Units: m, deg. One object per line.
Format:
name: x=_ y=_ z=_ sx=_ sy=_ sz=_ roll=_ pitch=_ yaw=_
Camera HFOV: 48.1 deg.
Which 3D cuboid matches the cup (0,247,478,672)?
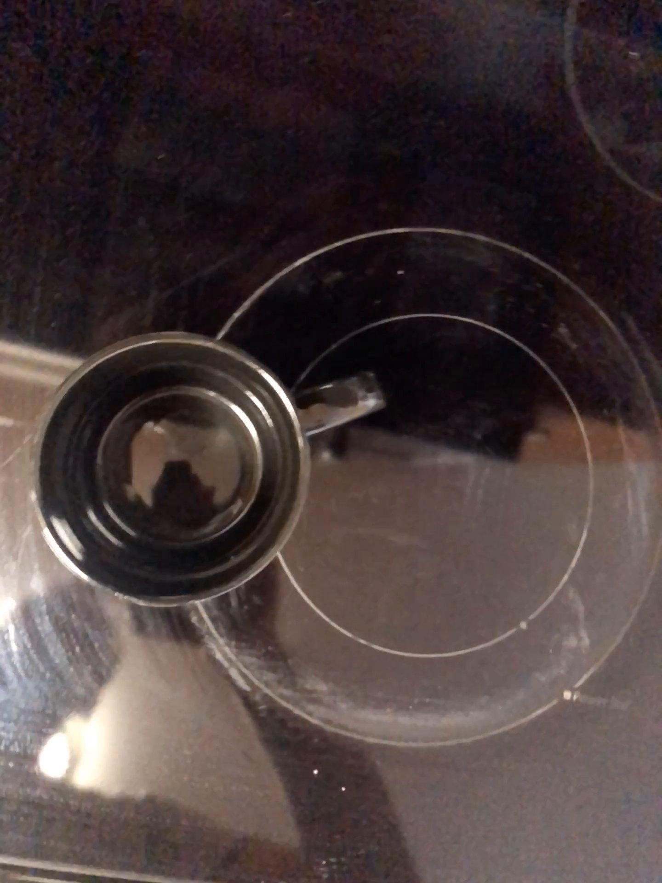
cup: x=-0.037 y=0.003 z=0.252 sx=0.130 sy=0.090 sz=0.090 roll=-14 pitch=91 yaw=-11
